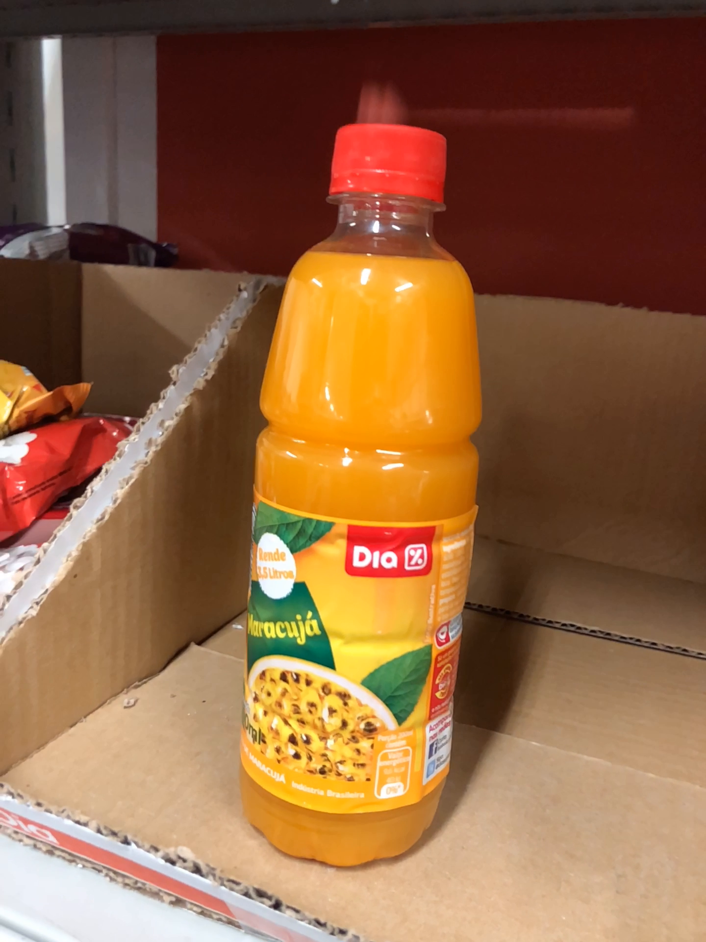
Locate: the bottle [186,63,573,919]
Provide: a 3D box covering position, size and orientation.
[{"bbox_3d":[0.005,0.004,0.224,0.070,0.199,0.070,4,13,-1],"label":"bottle"}]
